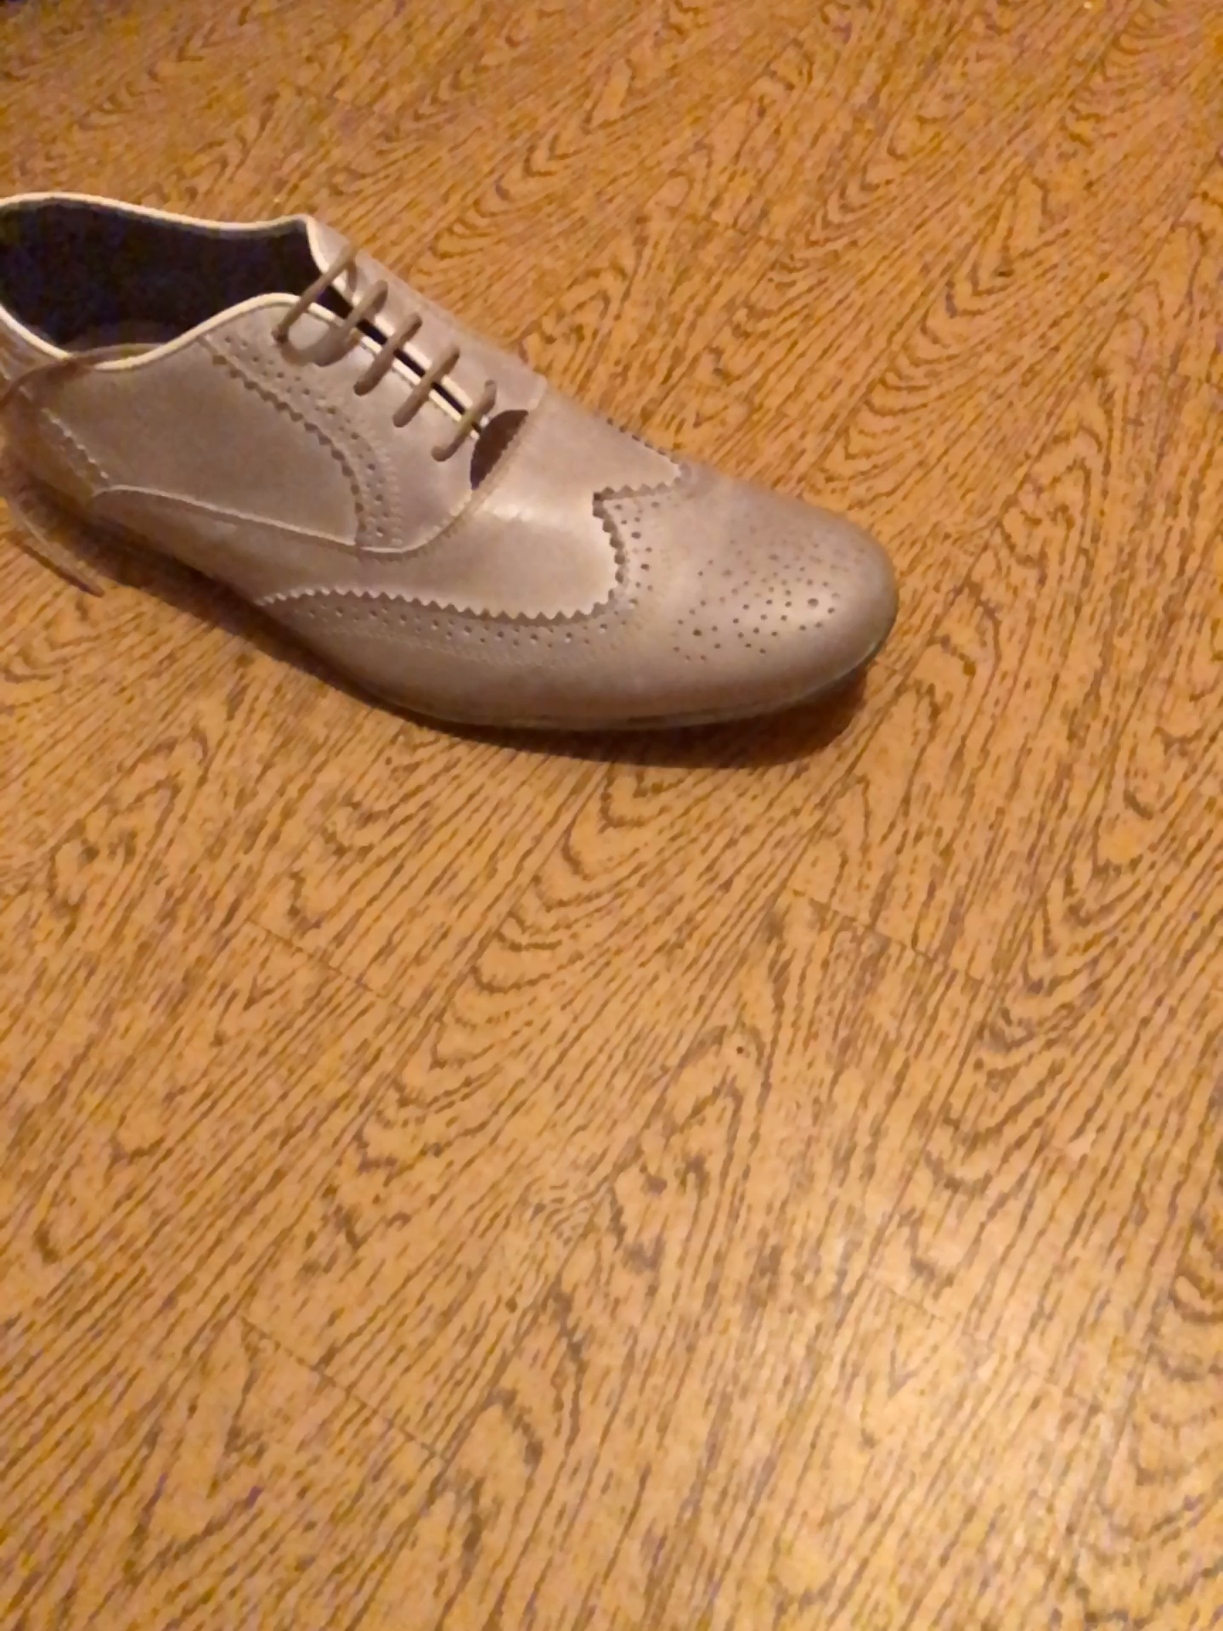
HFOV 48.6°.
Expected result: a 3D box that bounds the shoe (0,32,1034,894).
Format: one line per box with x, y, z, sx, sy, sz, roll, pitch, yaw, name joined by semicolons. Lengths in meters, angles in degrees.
-0.056;-0.106;0.385;0.300;0.110;0.110;23;62;15;shoe
